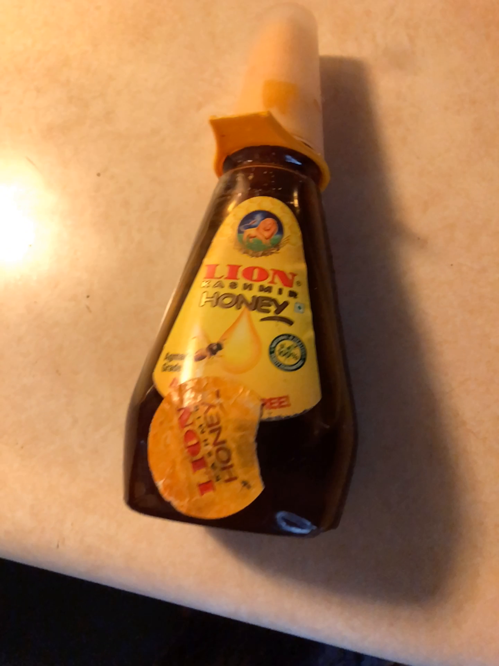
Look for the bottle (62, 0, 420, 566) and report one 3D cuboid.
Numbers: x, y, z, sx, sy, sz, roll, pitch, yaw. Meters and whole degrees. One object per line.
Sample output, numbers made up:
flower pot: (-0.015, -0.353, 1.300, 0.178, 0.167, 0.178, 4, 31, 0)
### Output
bottle: (0.005, -0.030, 0.196, 0.090, 0.050, 0.190, 4, 78, 11)
